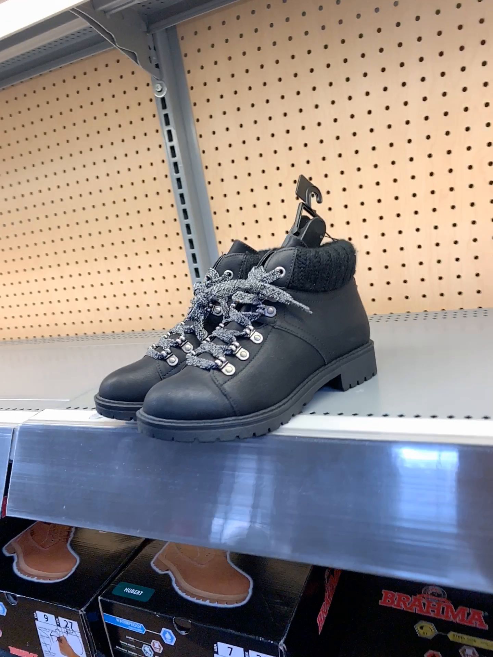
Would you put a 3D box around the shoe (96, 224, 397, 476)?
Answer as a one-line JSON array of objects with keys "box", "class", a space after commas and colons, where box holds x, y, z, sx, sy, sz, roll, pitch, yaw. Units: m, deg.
[{"box": [0.013, 0.000, 0.442, 0.231, 0.137, 0.105, -20, 17, -36], "class": "shoe"}]

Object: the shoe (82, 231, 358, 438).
[{"box": [-0.026, -0.007, 0.507, 0.235, 0.137, 0.104, -15, 14, -18], "class": "shoe"}]
